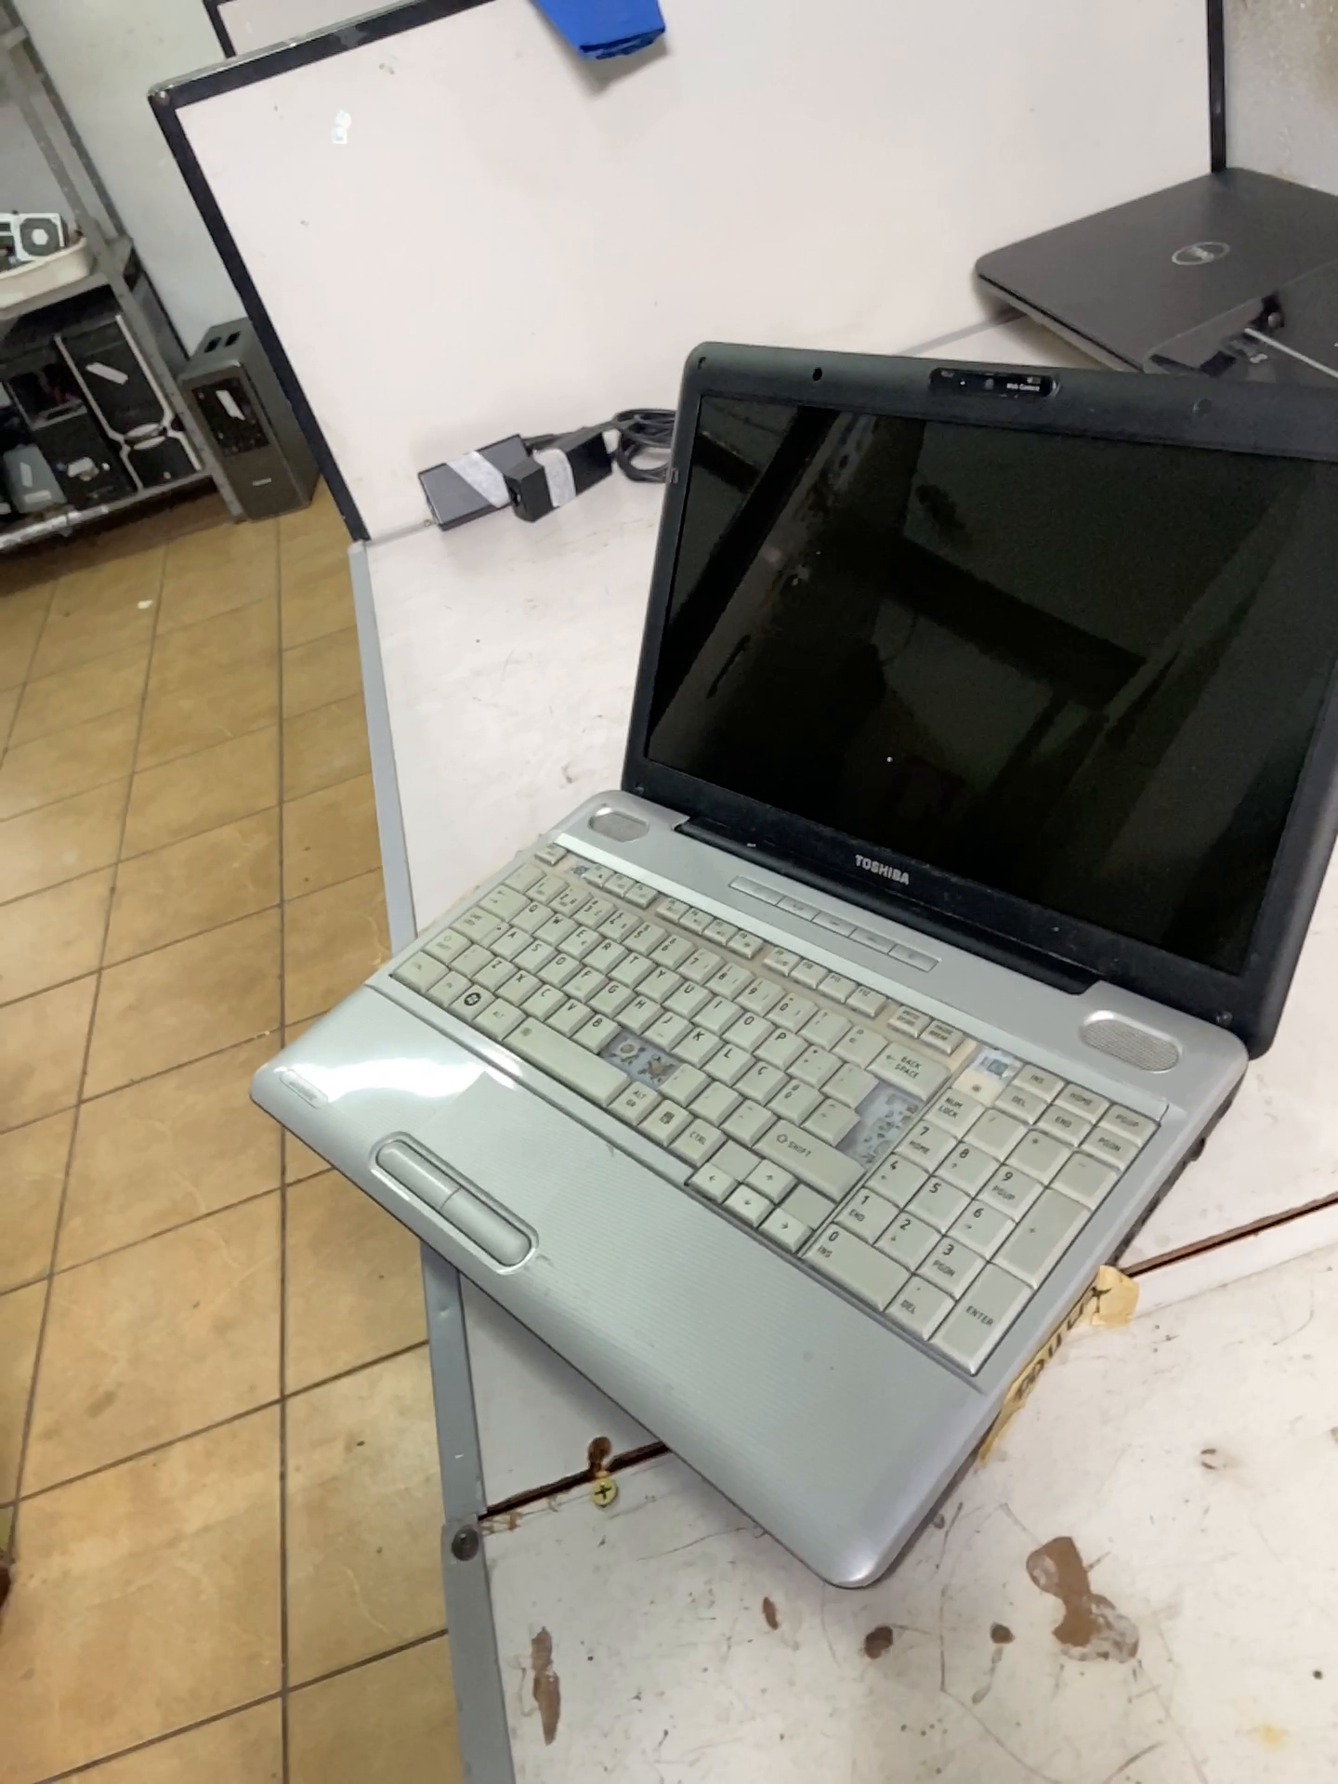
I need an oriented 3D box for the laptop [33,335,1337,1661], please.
[{"bbox_3d":[0.051,-0.031,0.533,0.372,0.190,0.400,23,55,41],"label":"laptop"}]
